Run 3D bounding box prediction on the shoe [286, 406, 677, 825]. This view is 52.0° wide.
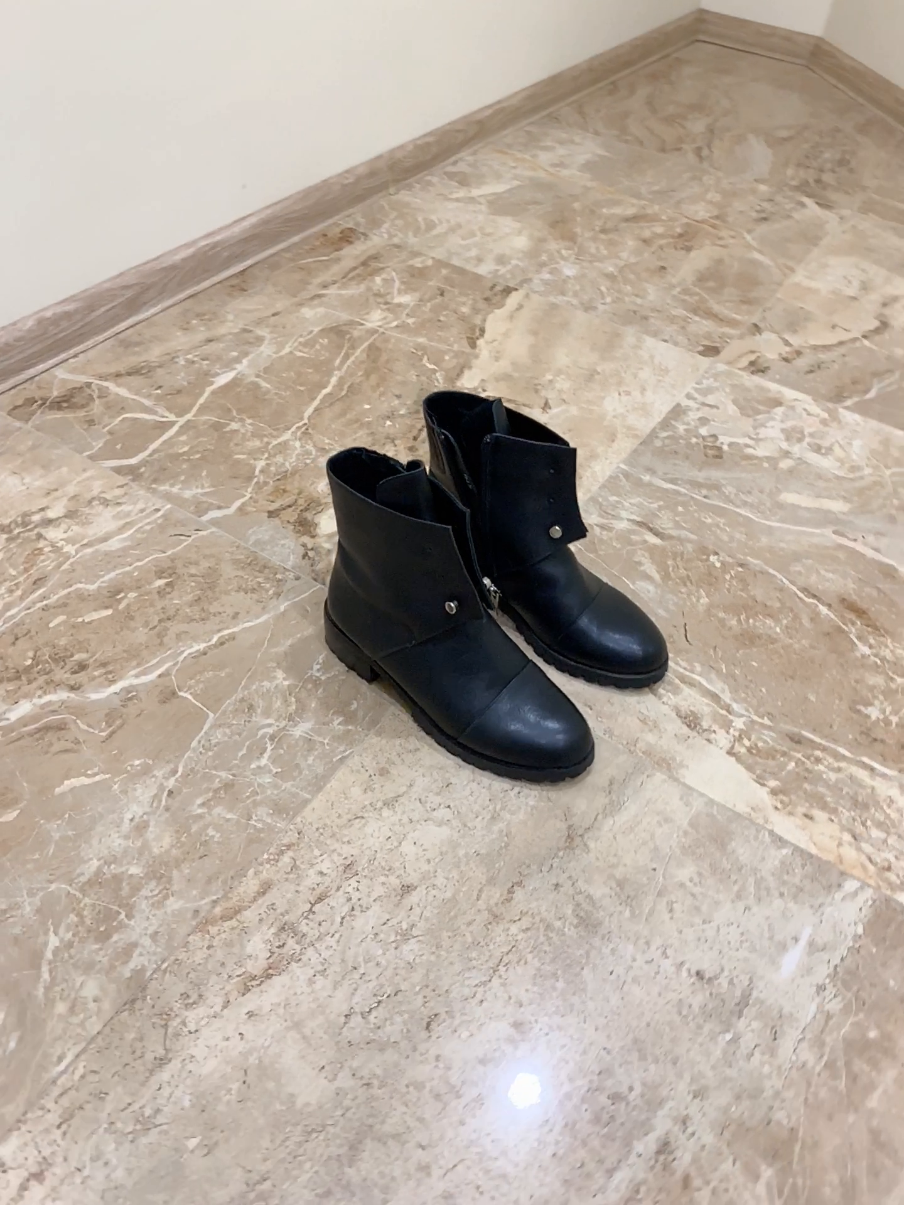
[{"bbox_3d":[0.006,0.010,0.678,0.250,0.199,0.090,31,50,20],"label":"shoe"}]

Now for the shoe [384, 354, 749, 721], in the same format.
[{"bbox_3d":[0.076,-0.053,0.750,0.250,0.199,0.090,26,48,19],"label":"shoe"}]
